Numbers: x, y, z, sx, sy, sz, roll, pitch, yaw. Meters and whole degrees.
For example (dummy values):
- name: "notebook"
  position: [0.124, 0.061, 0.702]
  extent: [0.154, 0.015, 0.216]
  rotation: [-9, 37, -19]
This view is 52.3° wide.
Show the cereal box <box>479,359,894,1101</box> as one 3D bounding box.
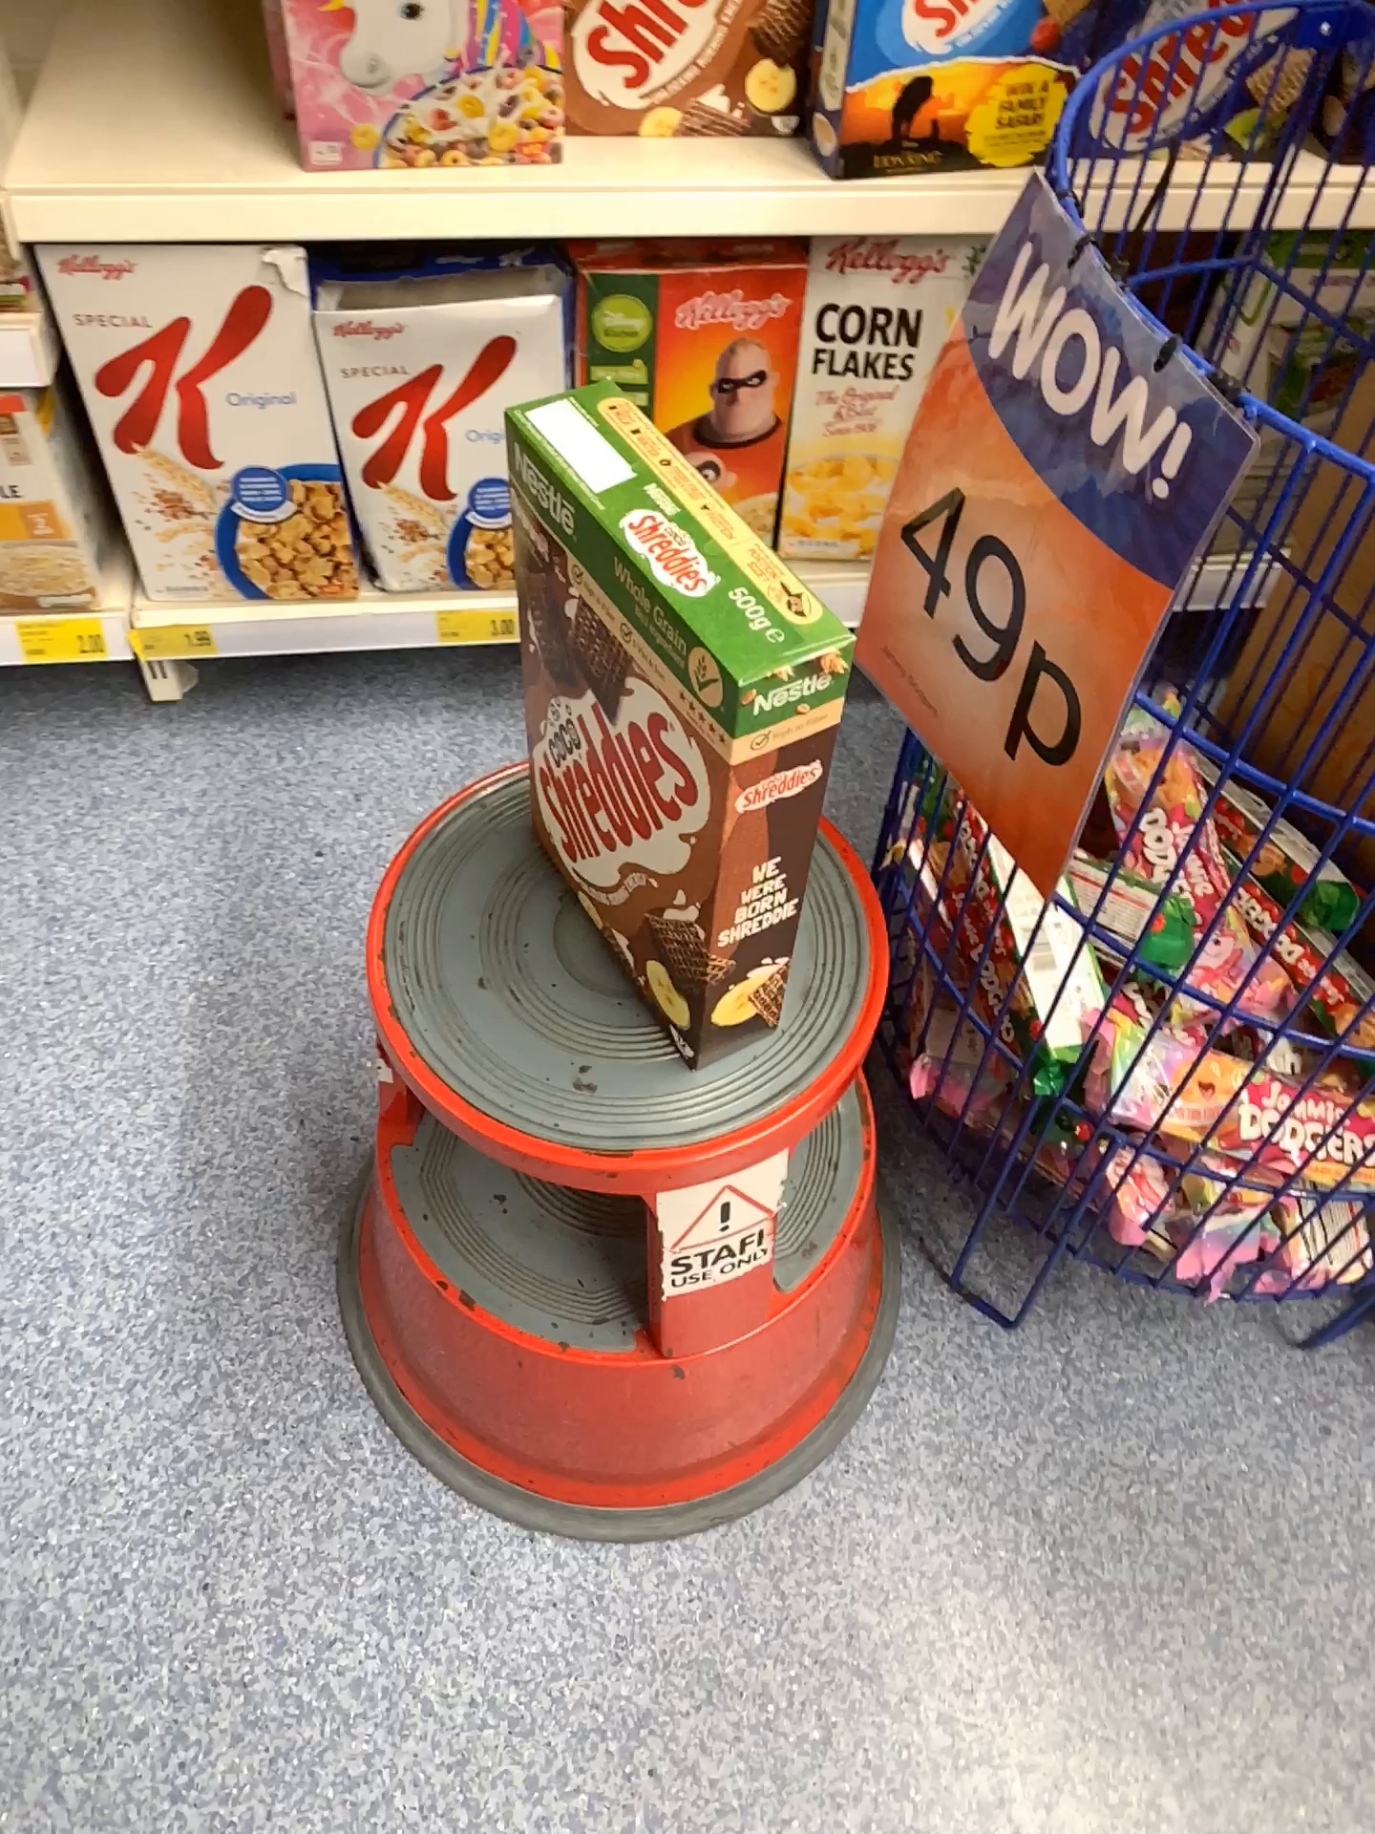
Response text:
- name: "cereal box"
  position: [-0.014, -0.075, 0.658]
  extent: [0.070, 0.278, 0.201]
  rotation: [-24, 58, -21]
